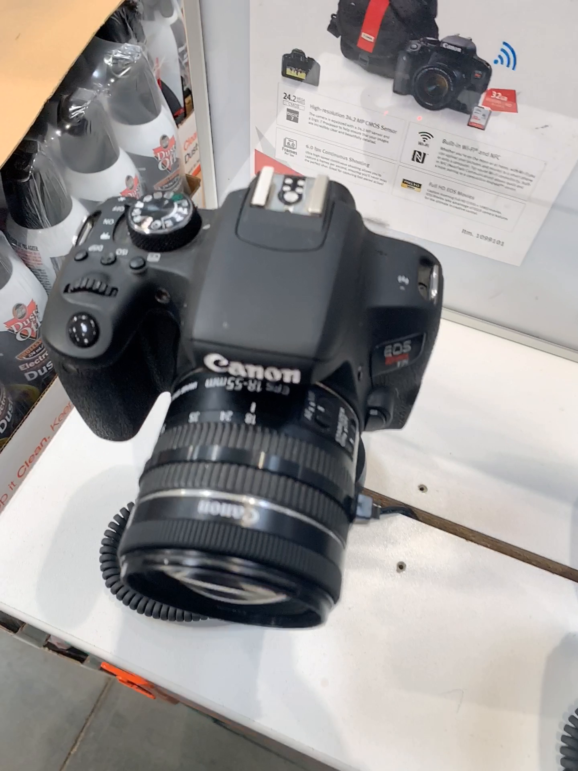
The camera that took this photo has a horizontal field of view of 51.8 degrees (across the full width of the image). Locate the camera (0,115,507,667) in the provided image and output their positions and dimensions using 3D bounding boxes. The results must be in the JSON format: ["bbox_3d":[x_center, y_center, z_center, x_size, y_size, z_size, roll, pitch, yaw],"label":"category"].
[{"bbox_3d":[-0.018,0.002,0.182,0.134,0.089,0.121,9,58,3],"label":"camera"}]
